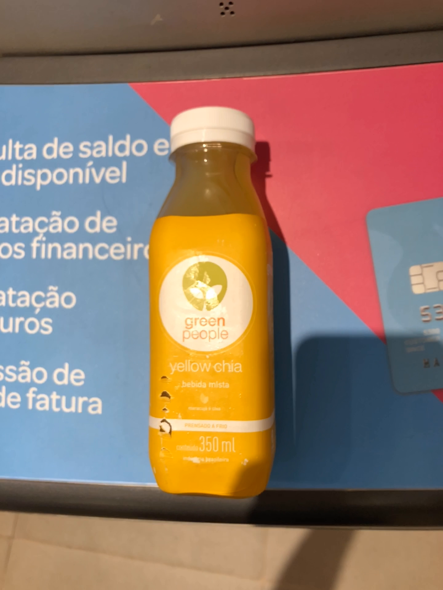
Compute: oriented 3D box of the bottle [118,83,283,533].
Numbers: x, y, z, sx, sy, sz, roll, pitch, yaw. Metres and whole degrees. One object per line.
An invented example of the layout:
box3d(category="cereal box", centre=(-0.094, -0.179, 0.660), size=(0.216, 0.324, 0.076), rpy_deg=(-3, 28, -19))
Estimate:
box3d(category="bottle", centre=(-0.005, 0.004, 0.234), size=(0.060, 0.060, 0.180), rpy_deg=(1, 87, 10))
